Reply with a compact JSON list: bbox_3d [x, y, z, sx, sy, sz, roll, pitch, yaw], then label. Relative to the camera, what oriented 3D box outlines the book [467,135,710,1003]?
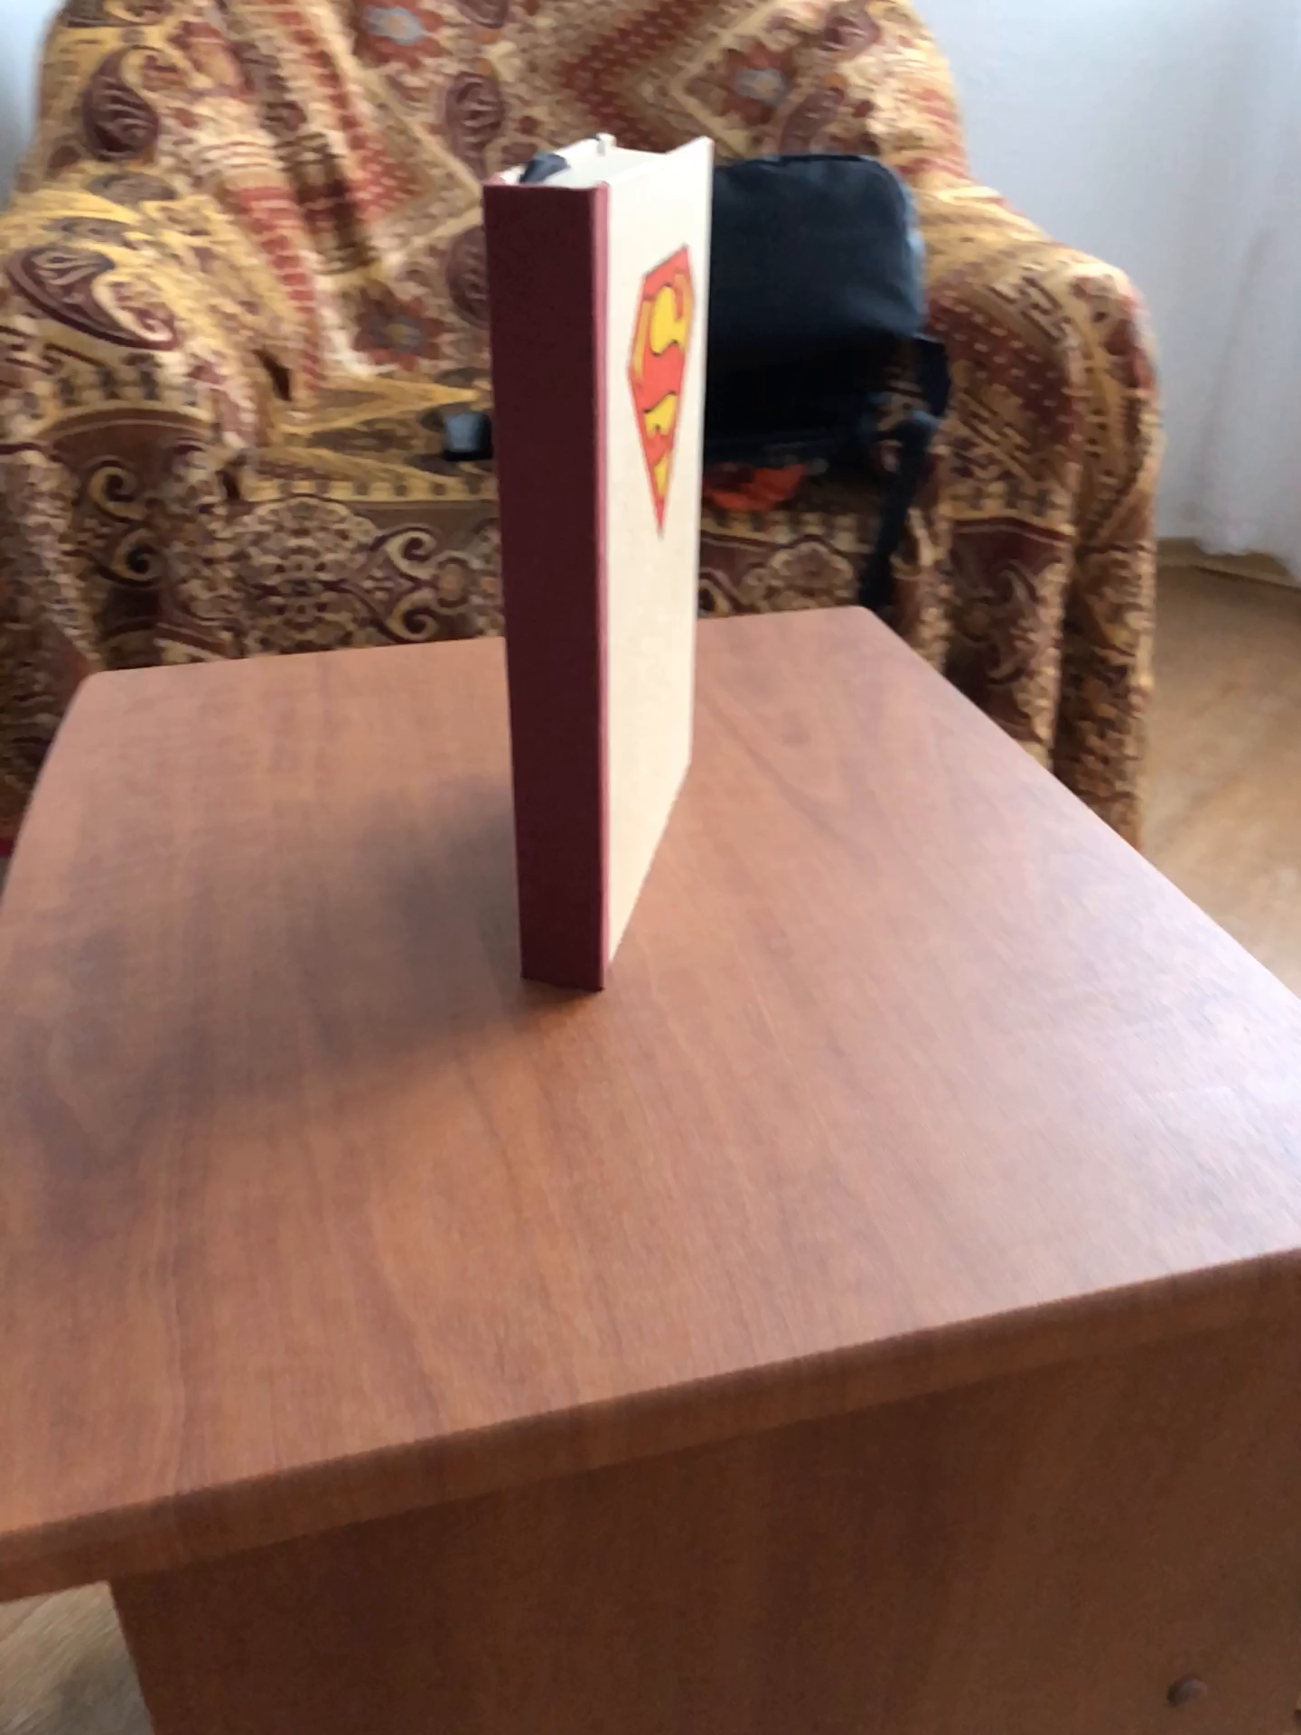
[{"bbox_3d":[-0.012,-0.093,0.425,0.032,0.212,0.155,6,31,8],"label":"book"}]
